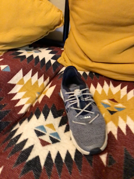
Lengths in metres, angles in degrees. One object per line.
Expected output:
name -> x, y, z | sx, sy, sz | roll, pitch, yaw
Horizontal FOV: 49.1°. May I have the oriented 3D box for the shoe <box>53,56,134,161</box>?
shoe -> 0.036, 0.022, 0.318 | 0.094, 0.074, 0.212 | -9, 46, -10
